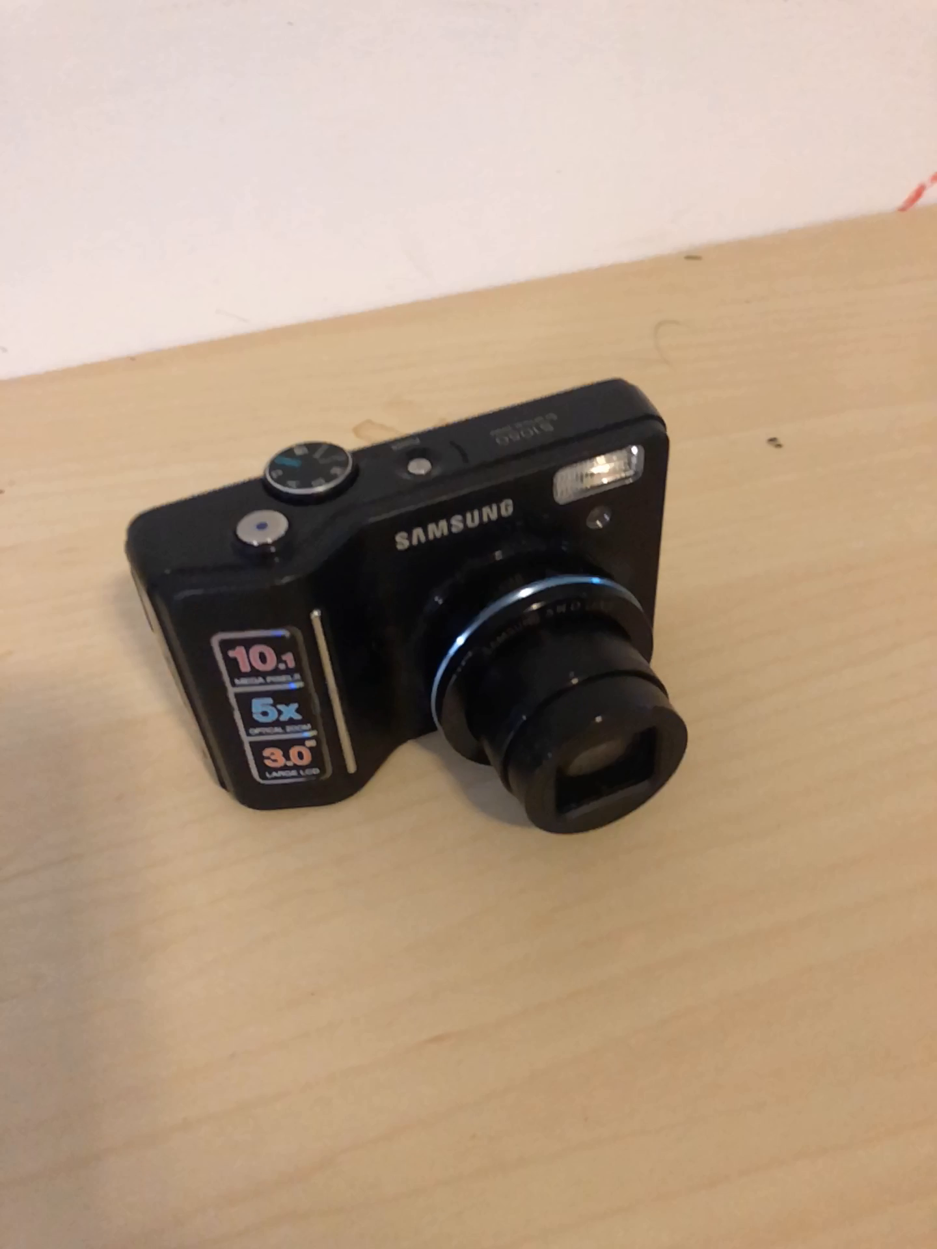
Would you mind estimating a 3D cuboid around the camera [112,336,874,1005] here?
[{"bbox_3d":[0.002,0.006,0.200,0.110,0.070,0.070,-18,47,-12],"label":"camera"}]
